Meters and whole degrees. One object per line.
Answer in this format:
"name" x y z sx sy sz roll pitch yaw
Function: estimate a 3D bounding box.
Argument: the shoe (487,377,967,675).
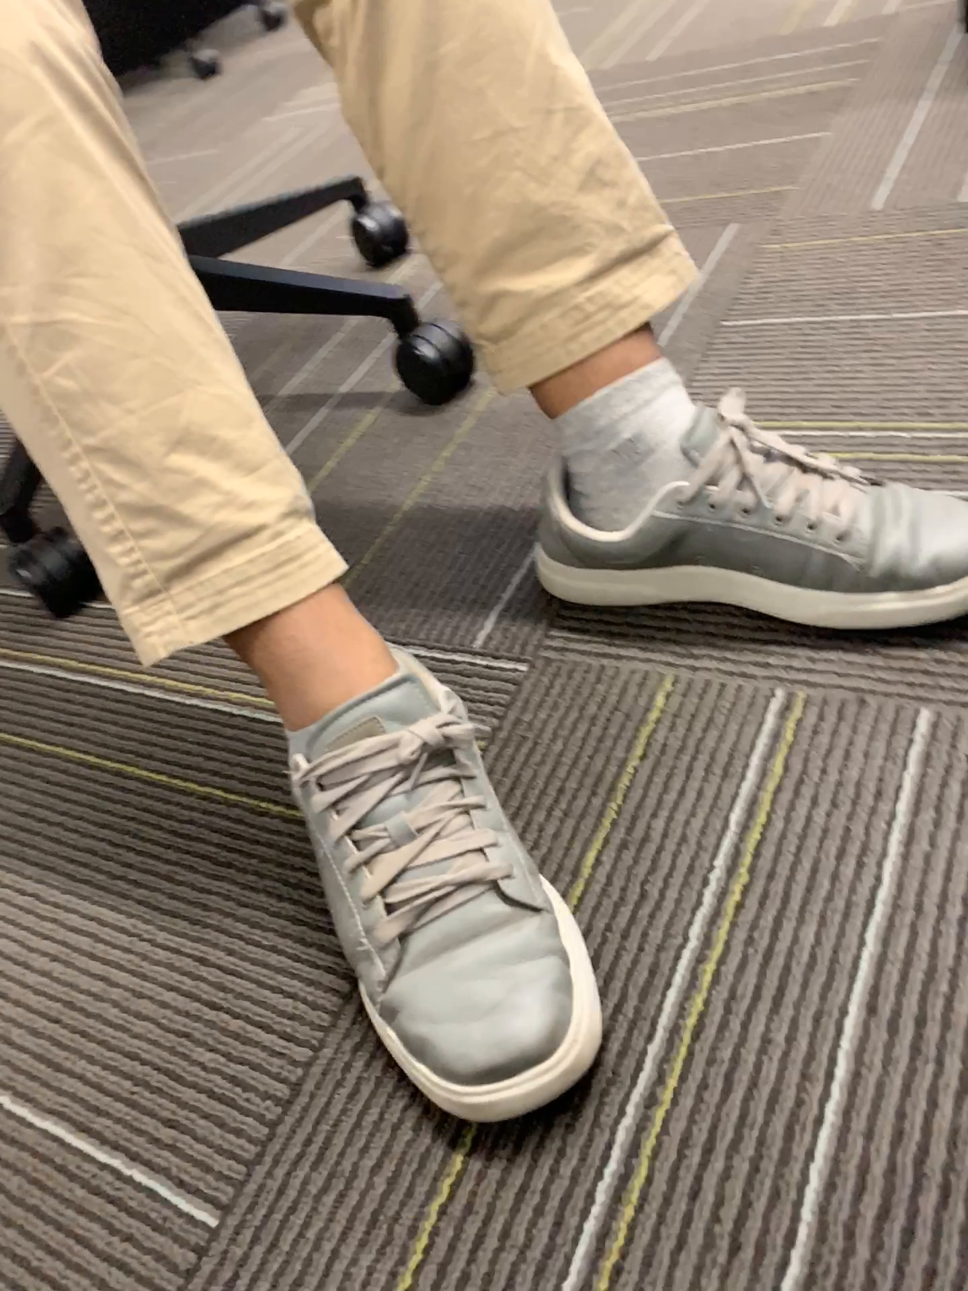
"shoe" 0.164 -0.078 0.607 0.281 0.109 0.120 6 48 29

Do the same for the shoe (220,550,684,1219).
"shoe" -0.029 0.098 0.493 0.120 0.139 0.272 -25 40 -3
